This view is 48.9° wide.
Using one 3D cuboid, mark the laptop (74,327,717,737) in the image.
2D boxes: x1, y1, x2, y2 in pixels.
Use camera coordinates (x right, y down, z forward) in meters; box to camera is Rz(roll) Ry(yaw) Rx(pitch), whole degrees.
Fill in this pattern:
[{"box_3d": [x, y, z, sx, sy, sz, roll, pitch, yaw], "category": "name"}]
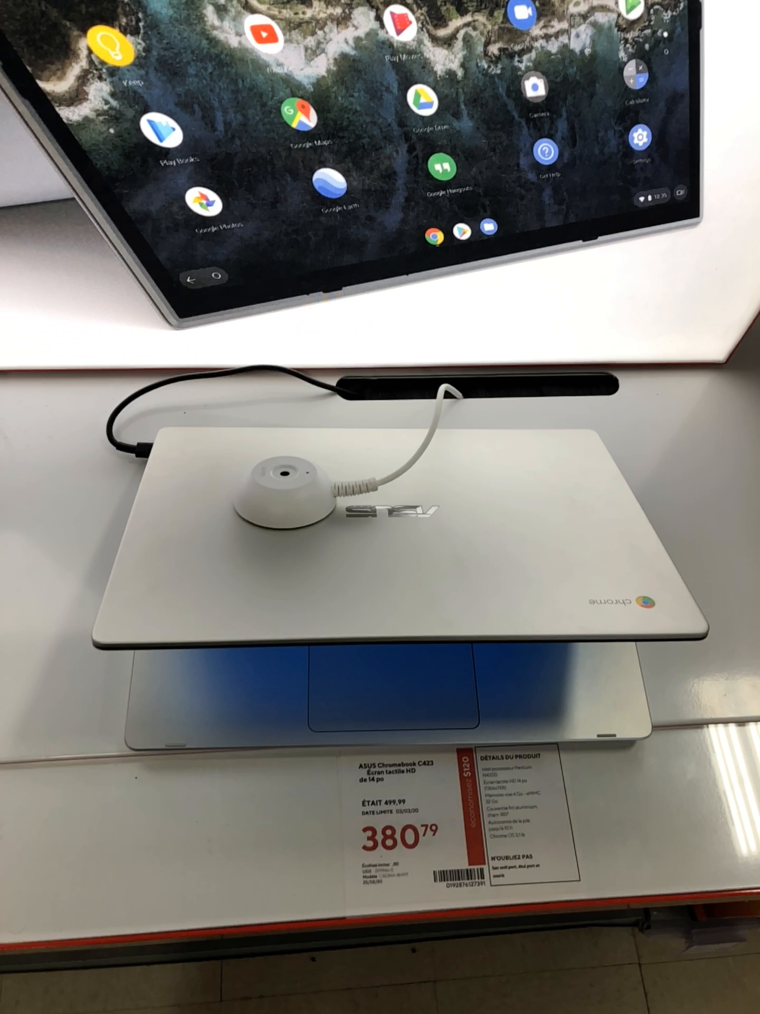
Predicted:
[{"box_3d": [0.005, 0.011, 0.511, 0.317, 0.101, 0.225, 0, 59, -4], "category": "laptop"}]
